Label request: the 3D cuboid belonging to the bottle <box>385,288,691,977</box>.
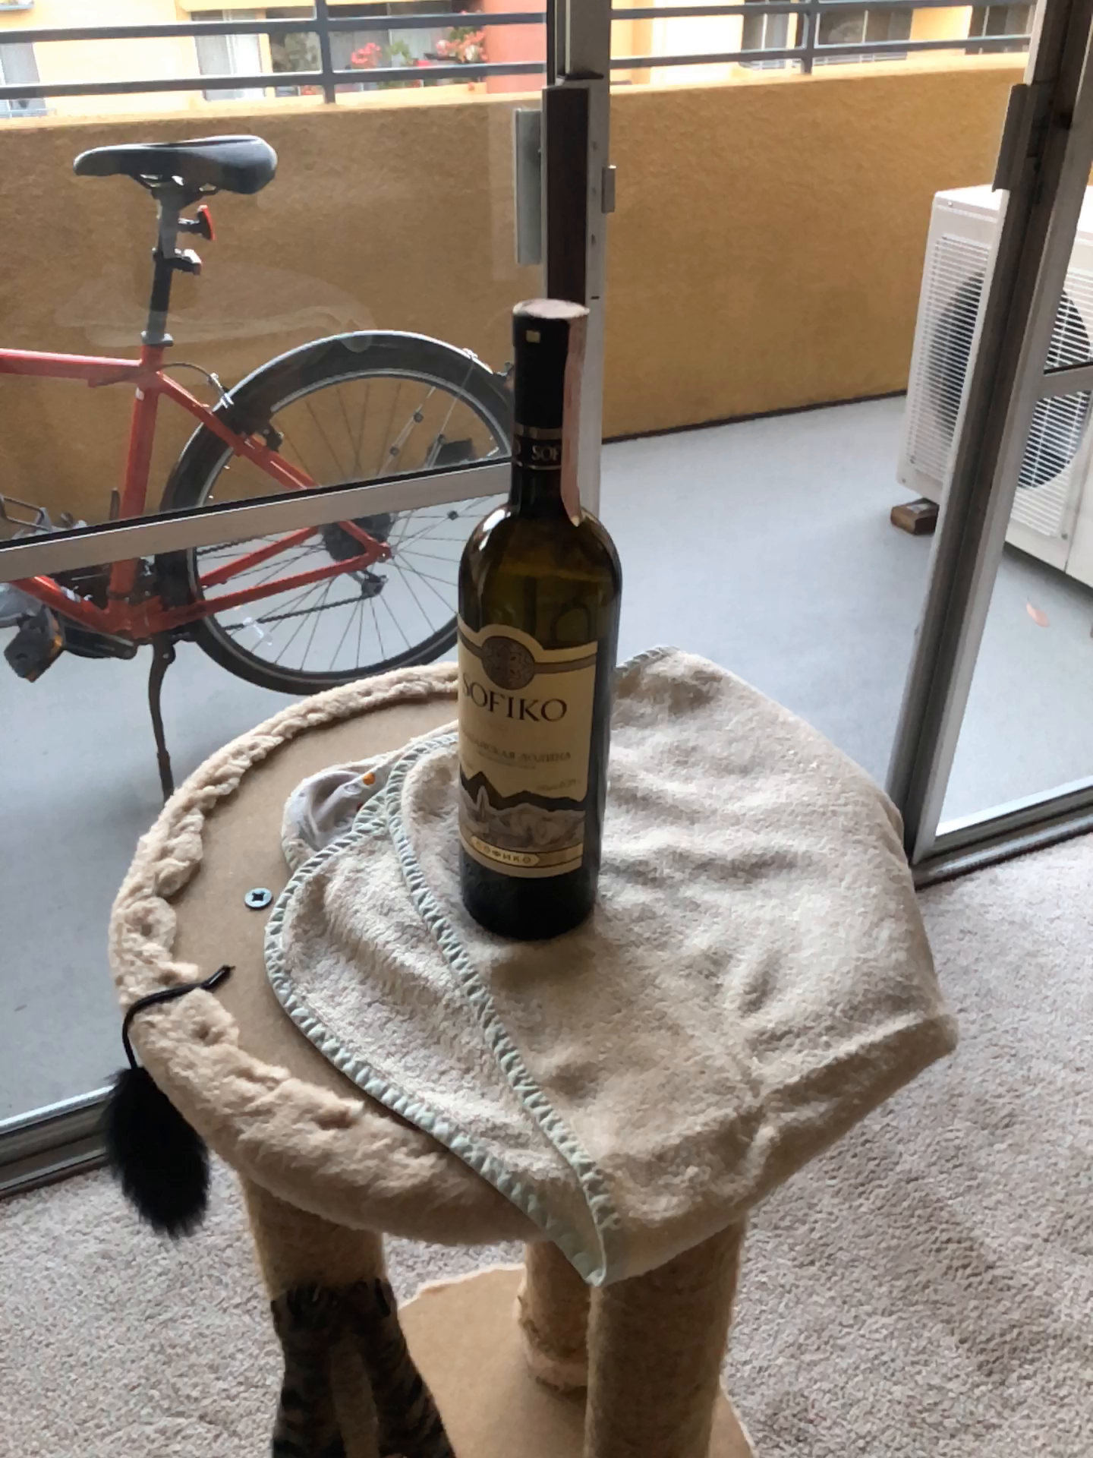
[{"bbox_3d":[-0.001,-0.032,0.506,0.080,0.269,0.080,0,34,0],"label":"bottle"}]
